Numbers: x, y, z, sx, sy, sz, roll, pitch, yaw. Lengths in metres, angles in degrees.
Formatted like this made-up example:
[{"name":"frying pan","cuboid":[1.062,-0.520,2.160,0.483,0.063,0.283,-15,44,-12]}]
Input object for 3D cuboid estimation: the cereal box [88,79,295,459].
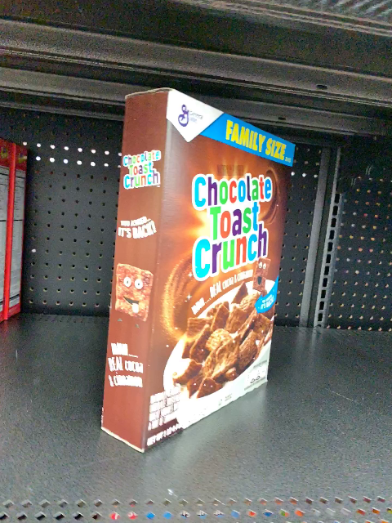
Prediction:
[{"name":"cereal box","cuboid":[0.009,0.003,0.451,0.070,0.319,0.240,11,9,36]}]
